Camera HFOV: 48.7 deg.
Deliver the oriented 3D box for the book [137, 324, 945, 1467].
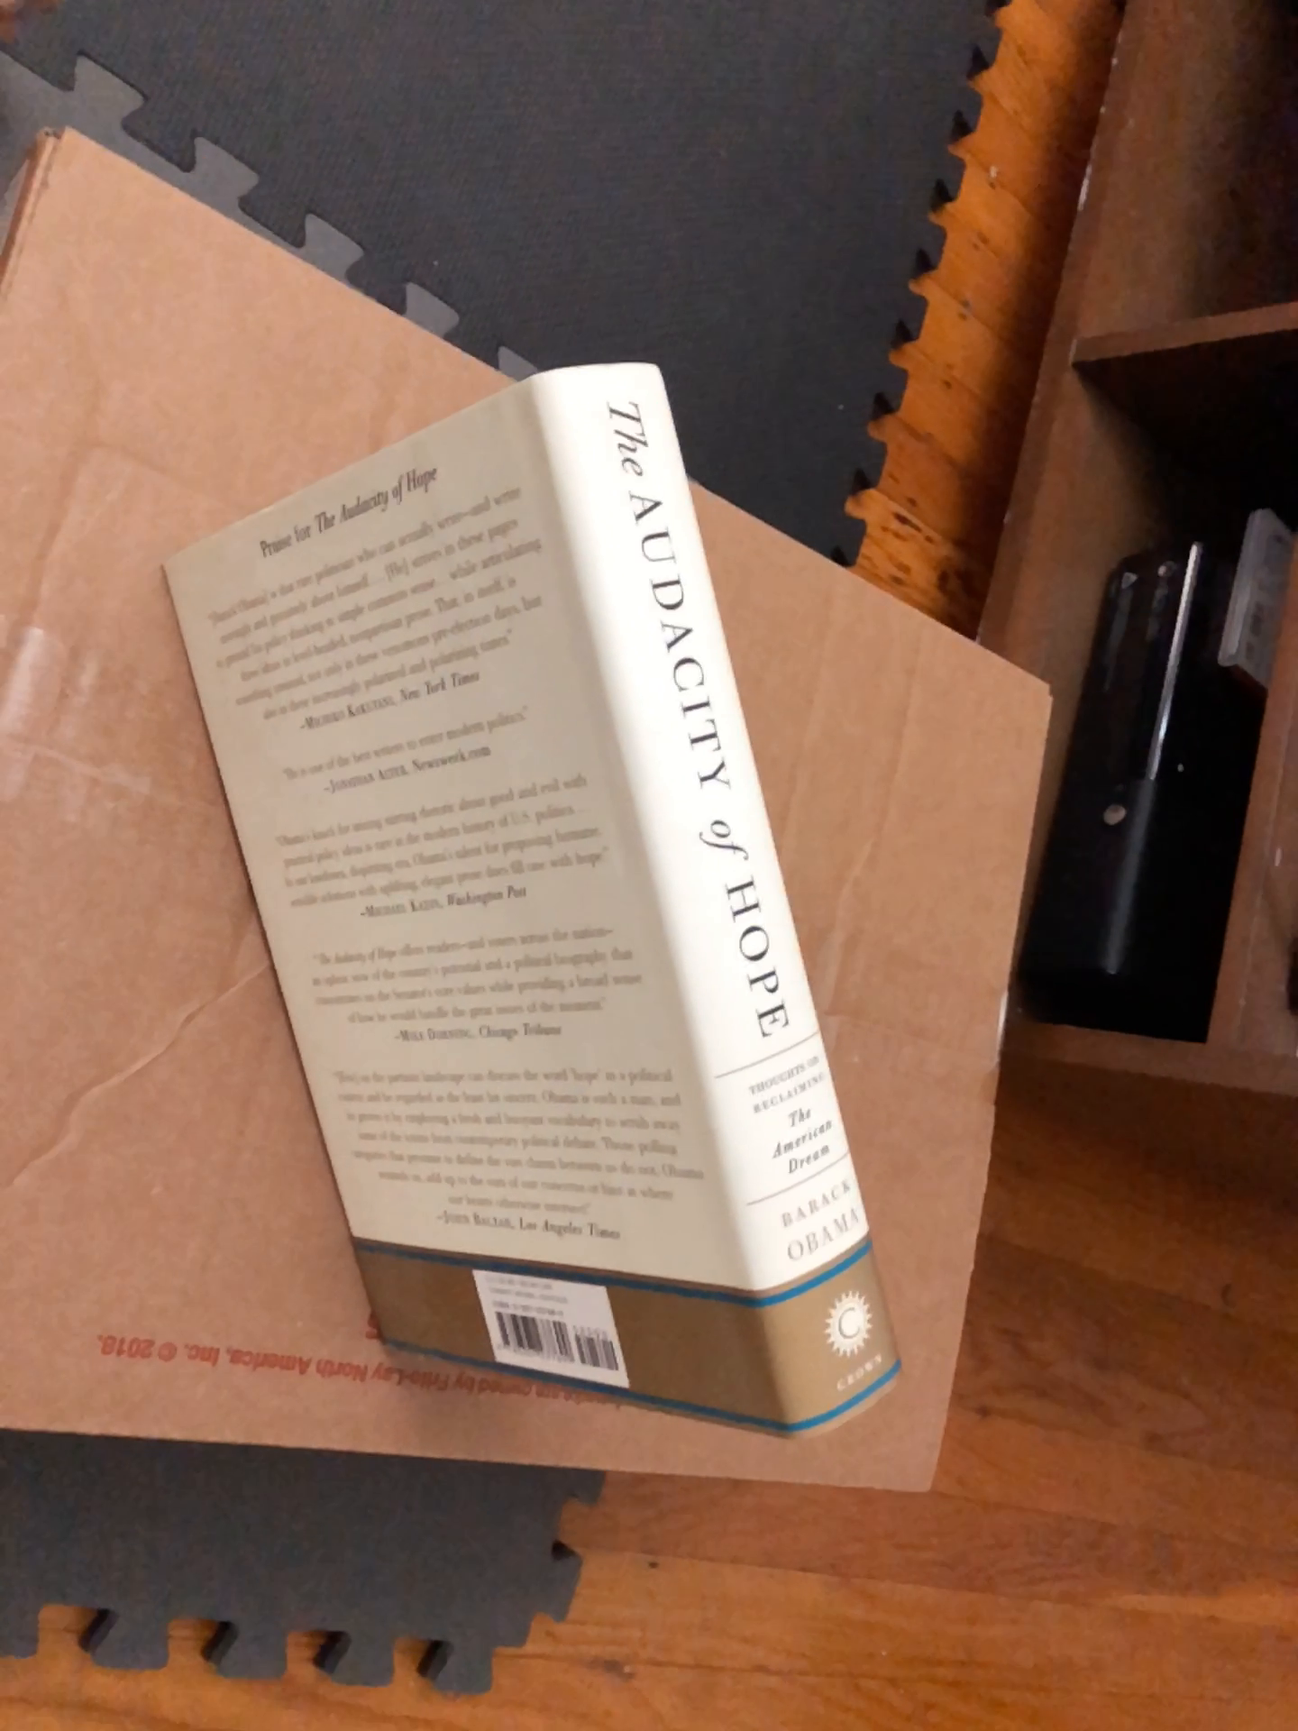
[{"bbox_3d":[-0.035,0.012,0.382,0.060,0.169,0.250,-20,100,-46],"label":"book"}]
